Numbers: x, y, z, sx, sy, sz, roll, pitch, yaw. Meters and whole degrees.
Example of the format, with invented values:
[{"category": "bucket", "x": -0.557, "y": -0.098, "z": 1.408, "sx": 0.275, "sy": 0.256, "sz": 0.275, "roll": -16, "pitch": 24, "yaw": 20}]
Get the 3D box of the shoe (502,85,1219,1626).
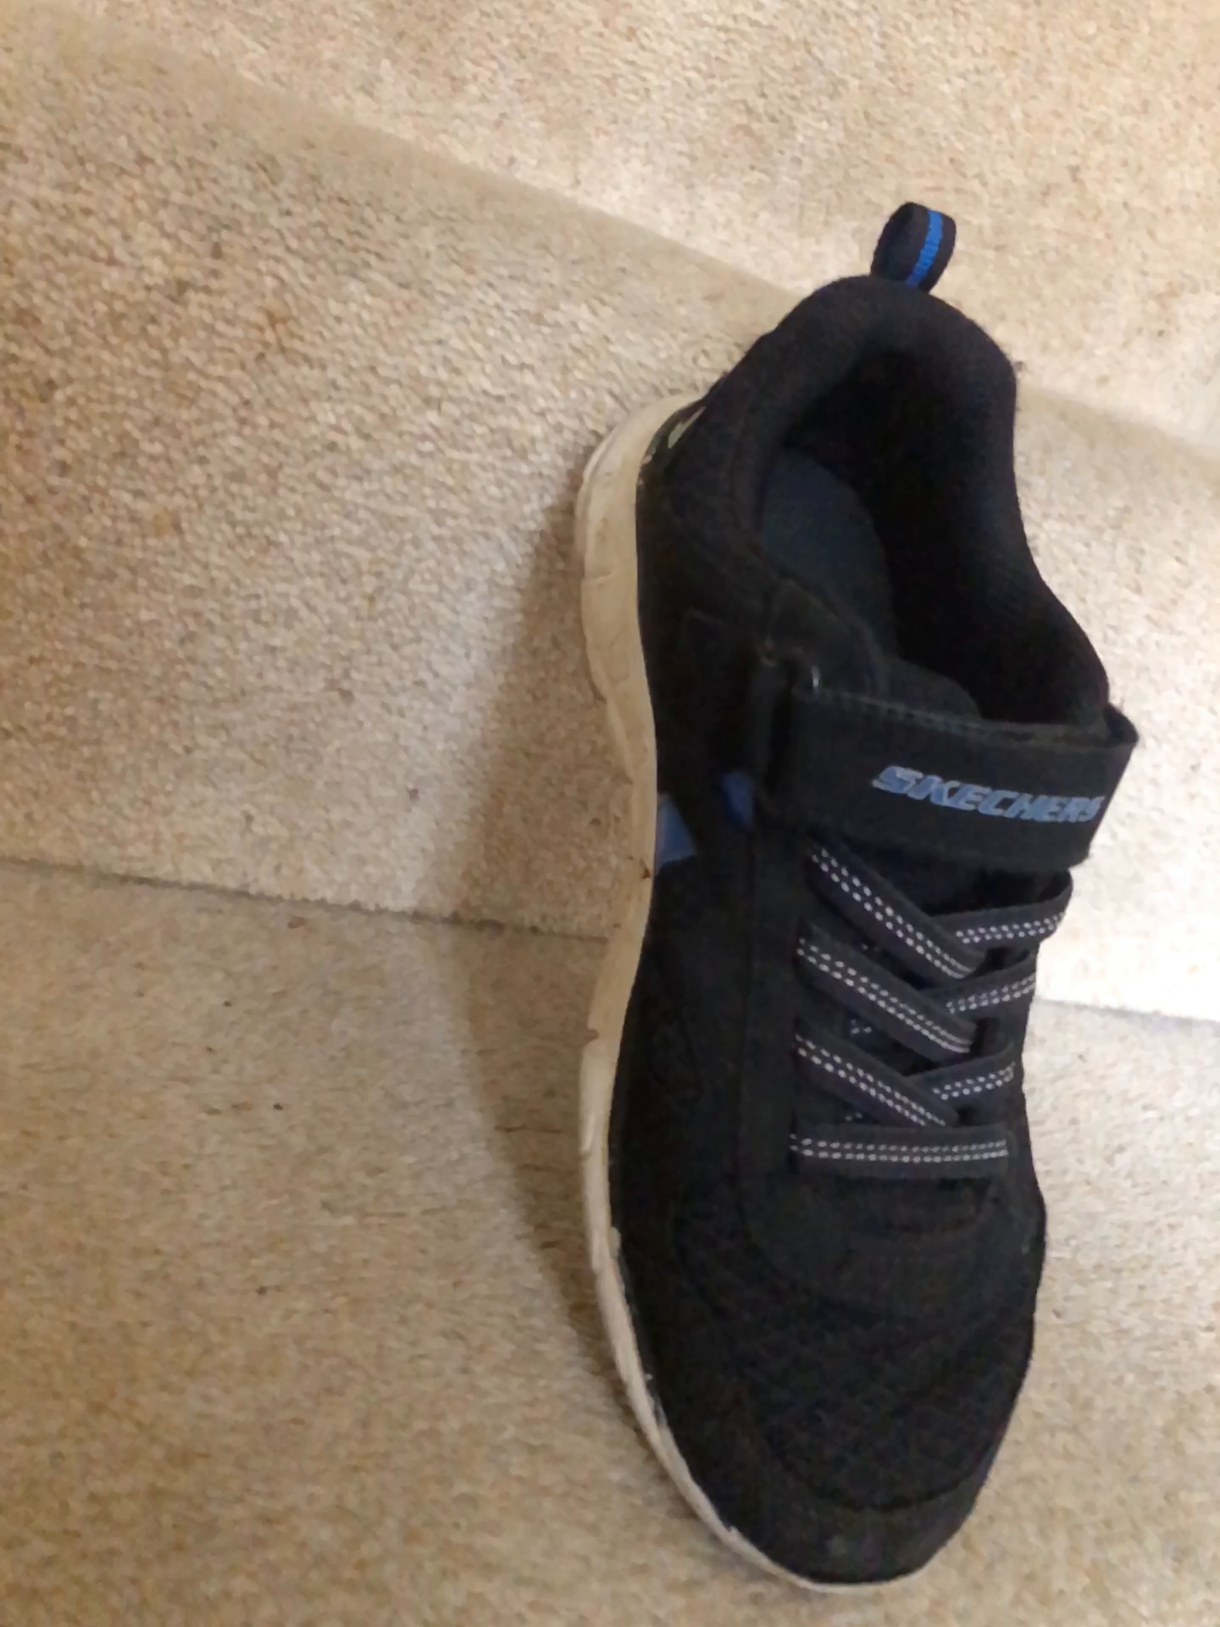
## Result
[{"category": "shoe", "x": 0.042, "y": 0.009, "z": 0.242, "sx": 0.090, "sy": 0.221, "sz": 0.100, "roll": 6, "pitch": -15, "yaw": -17}]
